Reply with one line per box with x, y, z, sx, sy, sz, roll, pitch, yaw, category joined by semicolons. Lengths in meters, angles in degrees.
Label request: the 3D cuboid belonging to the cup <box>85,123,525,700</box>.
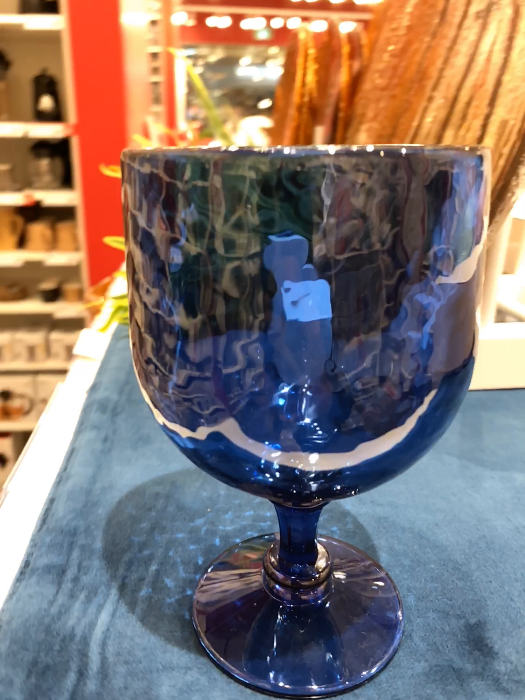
0.009;0.013;0.163;0.090;0.140;0.080;-7;21;-20;cup
